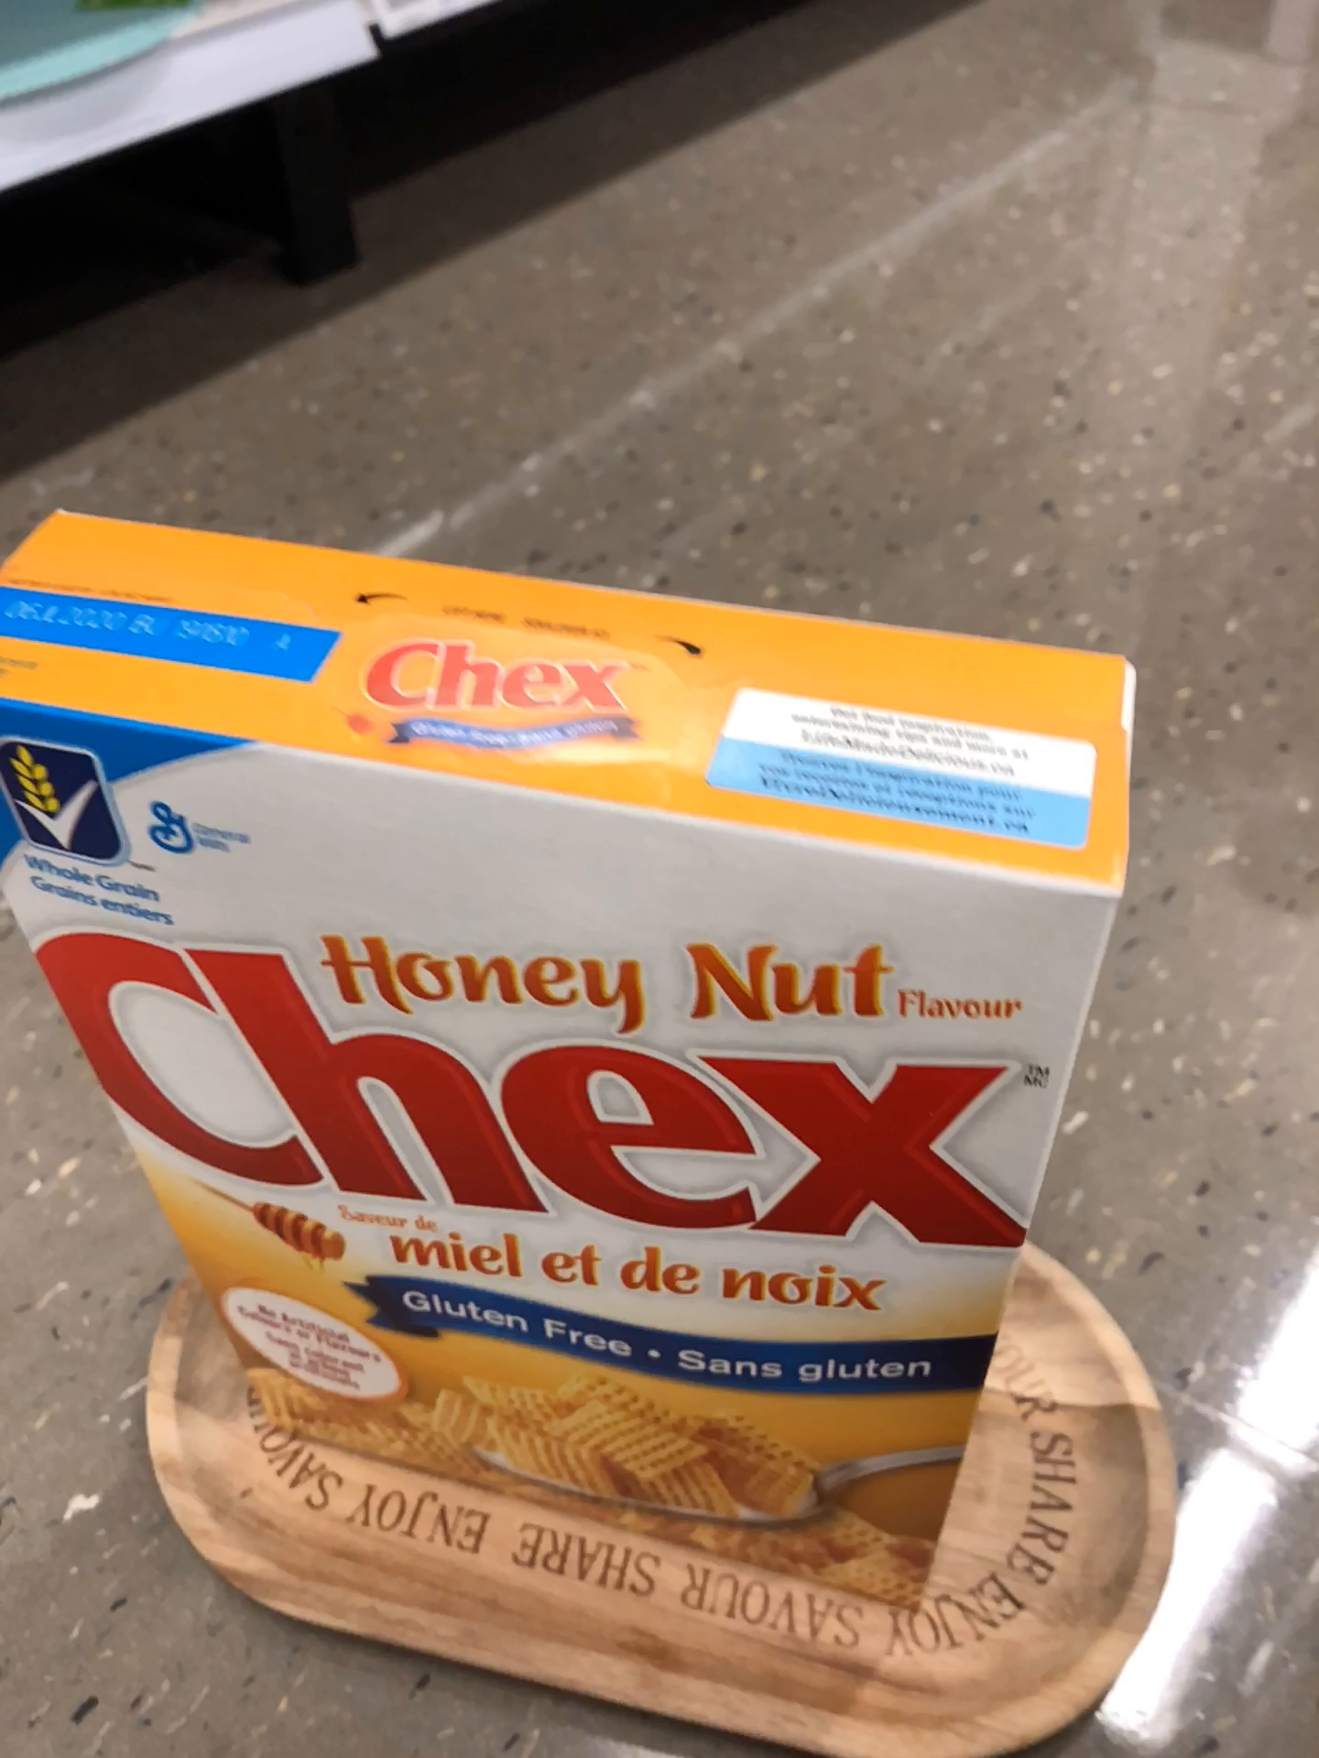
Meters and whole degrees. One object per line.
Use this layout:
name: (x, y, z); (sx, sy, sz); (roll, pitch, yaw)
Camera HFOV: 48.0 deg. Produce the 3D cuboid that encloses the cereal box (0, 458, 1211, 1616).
cereal box: (-0.017, 0.058, 0.338); (0.210, 0.279, 0.060); (10, 46, 12)
